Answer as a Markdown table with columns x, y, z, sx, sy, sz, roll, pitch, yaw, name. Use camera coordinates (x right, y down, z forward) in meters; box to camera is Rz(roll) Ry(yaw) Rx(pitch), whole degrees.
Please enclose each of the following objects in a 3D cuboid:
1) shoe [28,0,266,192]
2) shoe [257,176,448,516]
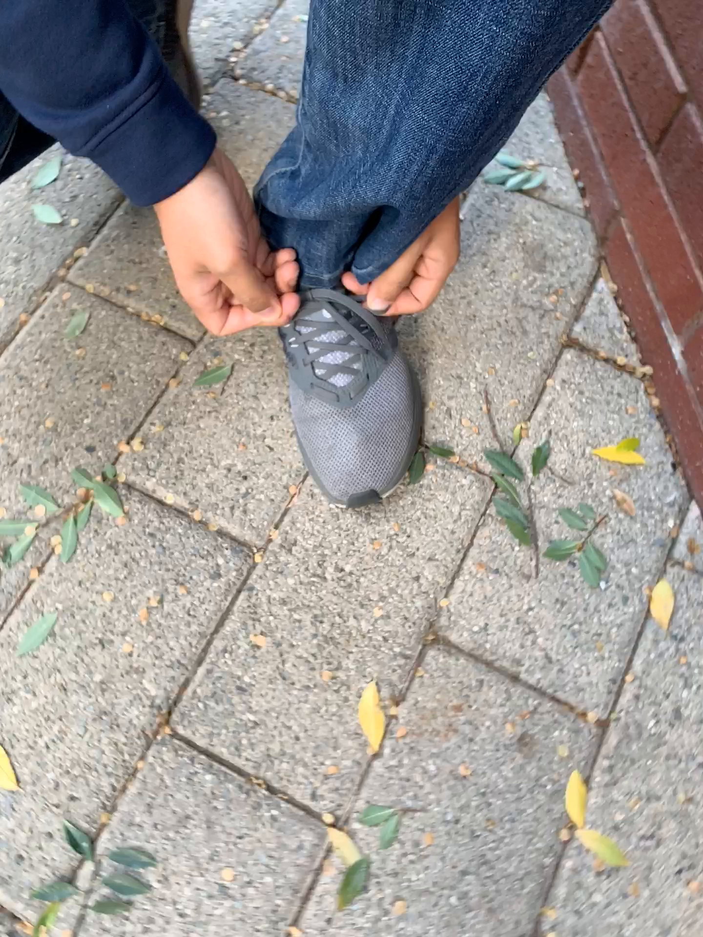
| x | y | z | sx | sy | sz | roll | pitch | yaw | name |
| --- | --- | --- | --- | --- | --- | --- | --- | --- | --- |
| -0.199 | -0.419 | 0.685 | 0.116 | 0.274 | 0.098 | 34 | 30 | 12 | shoe |
| -0.007 | -0.111 | 0.637 | 0.110 | 0.083 | 0.280 | -8 | 69 | -6 | shoe |
